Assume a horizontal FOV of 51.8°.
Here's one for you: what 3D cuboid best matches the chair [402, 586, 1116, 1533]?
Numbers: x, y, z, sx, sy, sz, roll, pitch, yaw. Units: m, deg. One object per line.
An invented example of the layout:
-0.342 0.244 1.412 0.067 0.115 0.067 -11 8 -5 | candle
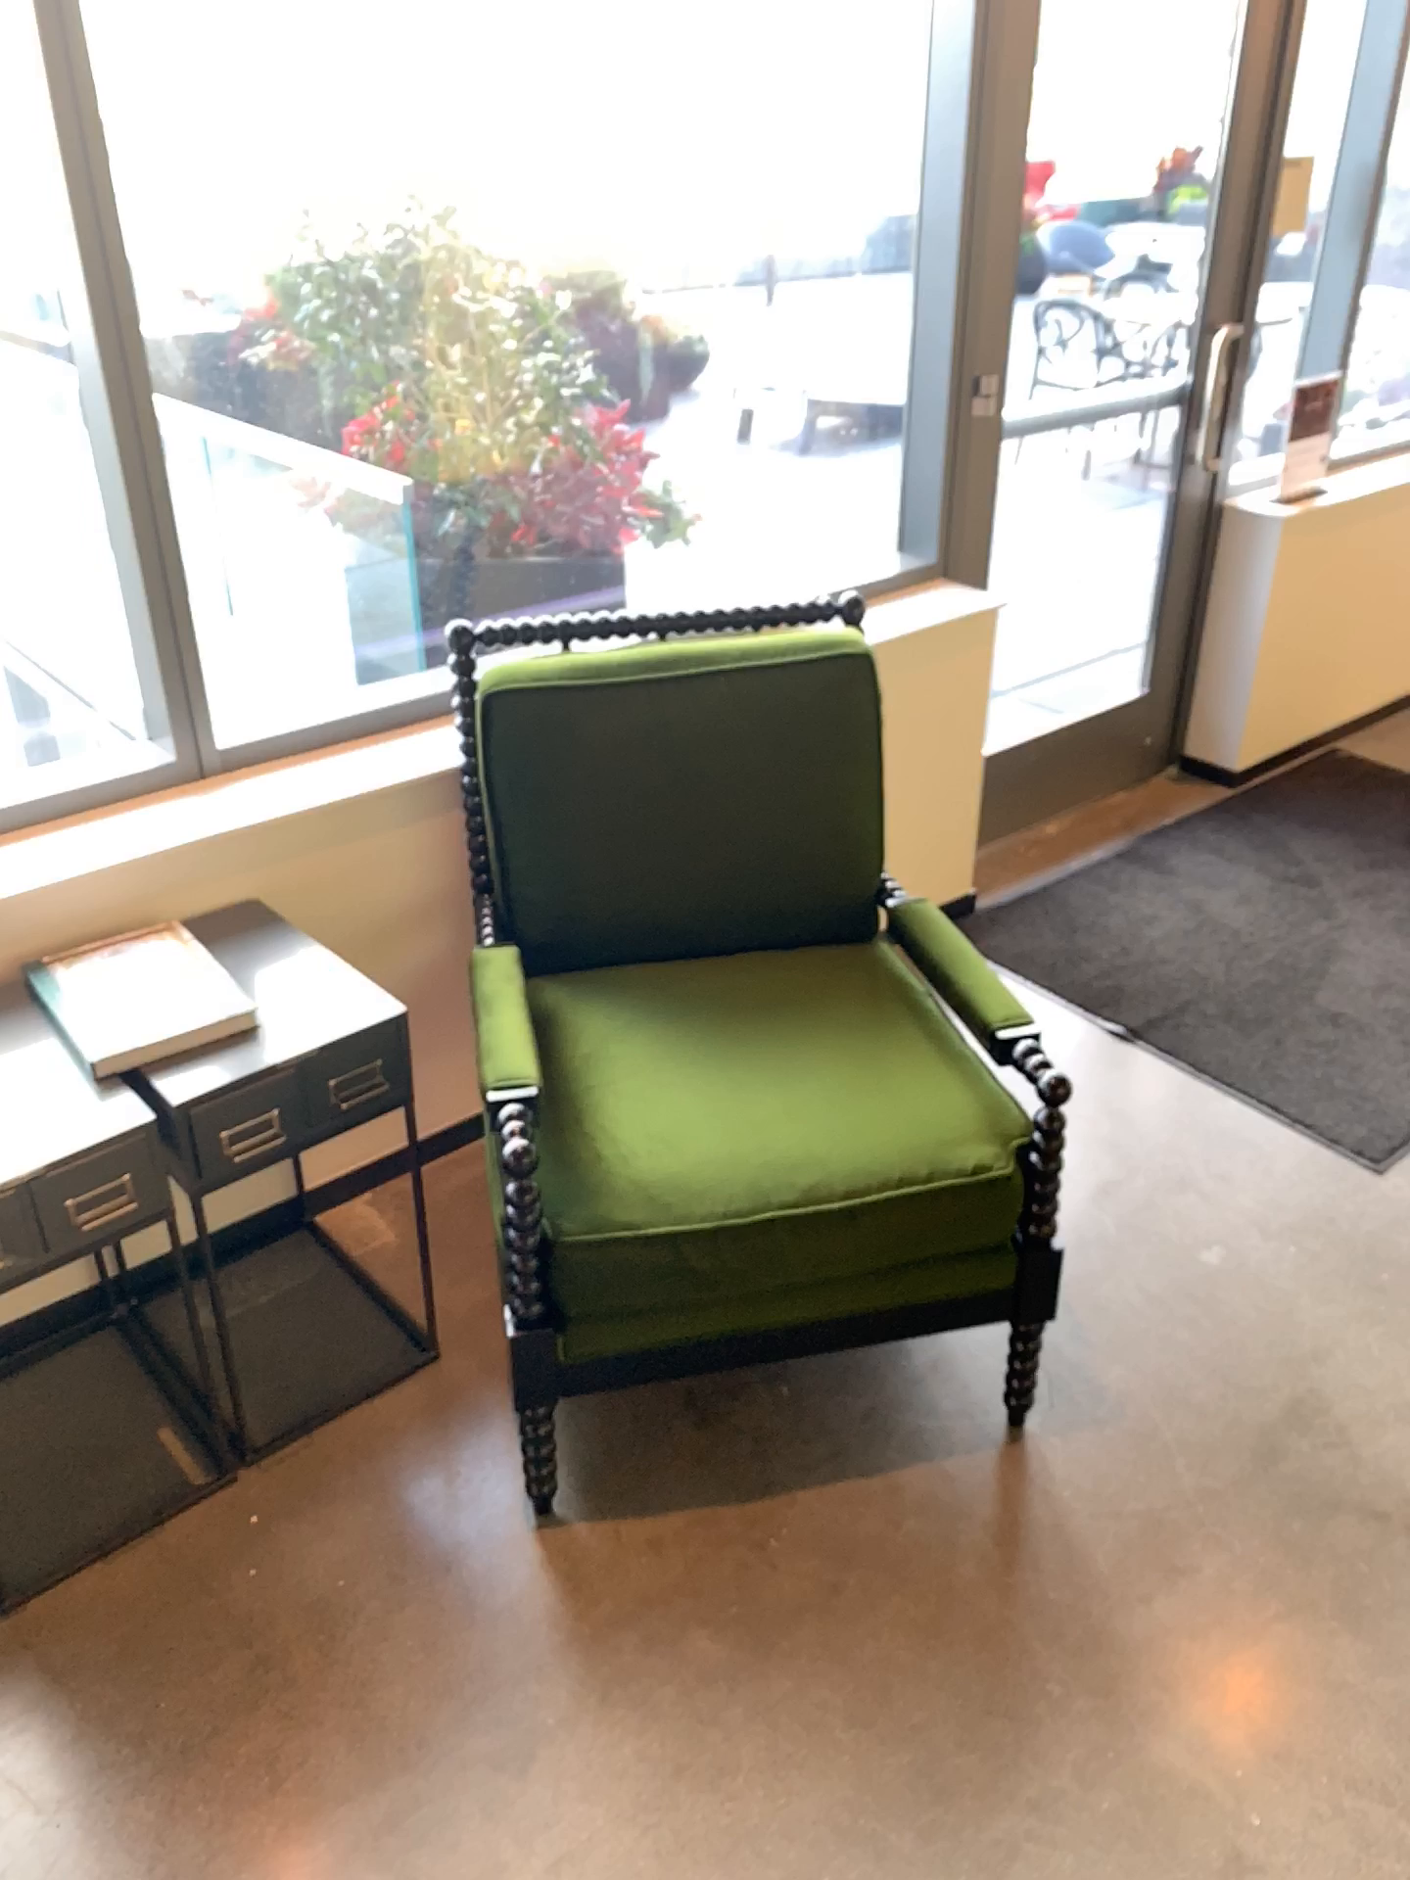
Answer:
-0.006 0.110 2.183 0.760 0.984 0.926 -6 30 -10 | chair
